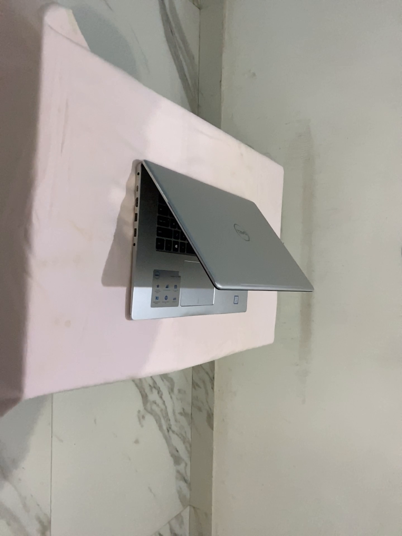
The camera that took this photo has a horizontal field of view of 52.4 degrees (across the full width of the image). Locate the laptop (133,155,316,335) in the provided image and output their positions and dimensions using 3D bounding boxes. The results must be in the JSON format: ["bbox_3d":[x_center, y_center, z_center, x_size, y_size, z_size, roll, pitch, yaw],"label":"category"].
[{"bbox_3d":[0.065,-0.029,0.717,0.349,0.148,0.234,3,89,-55],"label":"laptop"}]
